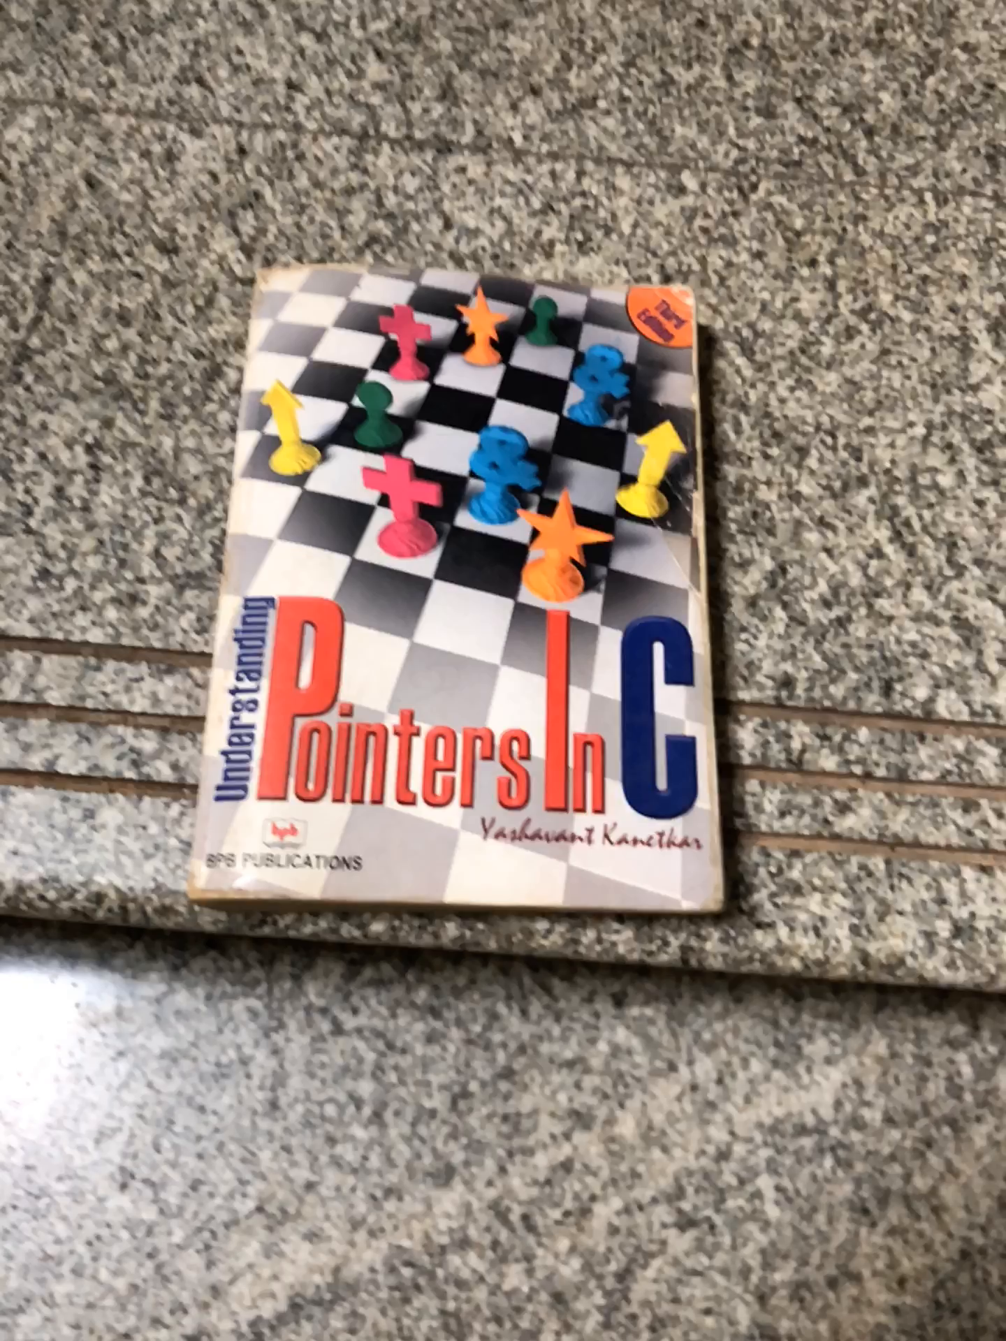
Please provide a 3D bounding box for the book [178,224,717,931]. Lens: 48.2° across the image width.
[{"bbox_3d":[-0.012,-0.036,0.346,0.140,0.030,0.220,2,69,-2],"label":"book"}]
